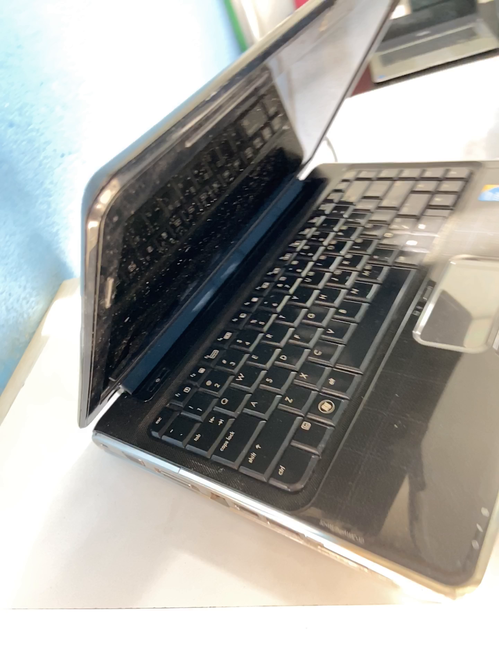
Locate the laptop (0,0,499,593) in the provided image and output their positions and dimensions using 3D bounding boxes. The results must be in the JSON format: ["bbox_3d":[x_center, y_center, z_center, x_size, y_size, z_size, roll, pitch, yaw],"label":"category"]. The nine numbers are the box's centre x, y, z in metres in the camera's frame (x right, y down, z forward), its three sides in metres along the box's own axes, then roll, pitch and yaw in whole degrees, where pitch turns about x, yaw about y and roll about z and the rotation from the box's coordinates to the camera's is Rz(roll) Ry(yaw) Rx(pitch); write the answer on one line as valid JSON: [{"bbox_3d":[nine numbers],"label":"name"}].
[{"bbox_3d":[0.047,-0.091,0.296,0.225,0.165,0.326,11,51,35],"label":"laptop"}]
